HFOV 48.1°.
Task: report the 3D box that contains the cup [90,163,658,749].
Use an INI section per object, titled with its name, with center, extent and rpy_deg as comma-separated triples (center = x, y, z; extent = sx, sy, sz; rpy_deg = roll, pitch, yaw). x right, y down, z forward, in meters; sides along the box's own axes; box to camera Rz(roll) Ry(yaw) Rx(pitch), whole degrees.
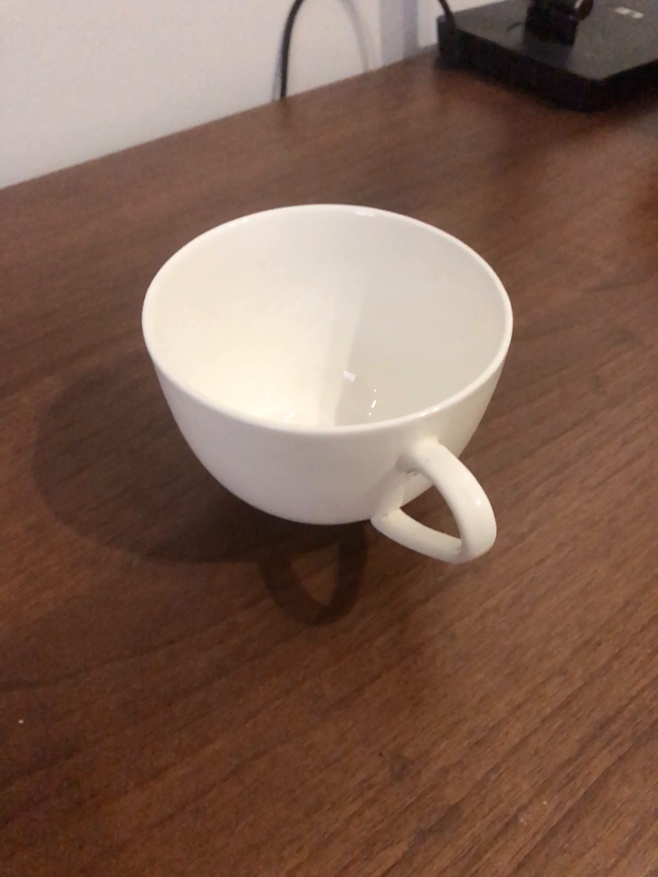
[cup]
center = 0.005, -0.005, 0.188
extent = 0.090, 0.070, 0.111
rpy_deg = -20, 49, -18
